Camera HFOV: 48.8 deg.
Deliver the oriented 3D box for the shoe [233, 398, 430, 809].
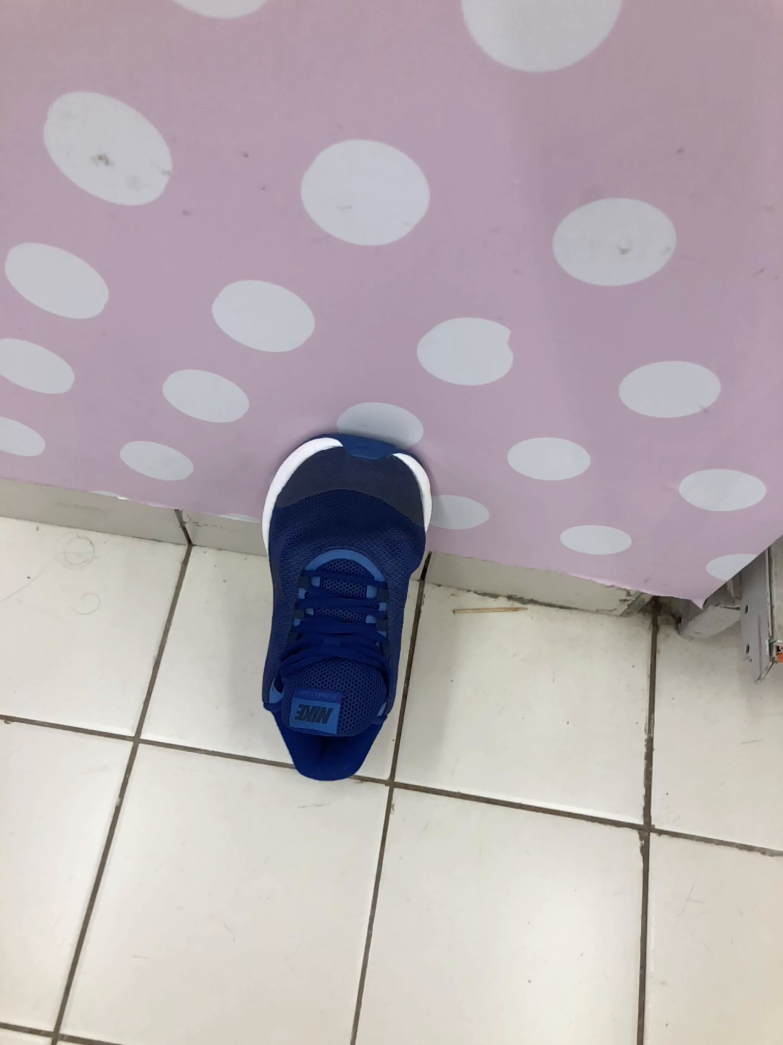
[{"bbox_3d":[-0.040,0.053,0.574,0.100,0.239,0.110,6,23,-1],"label":"shoe"}]
